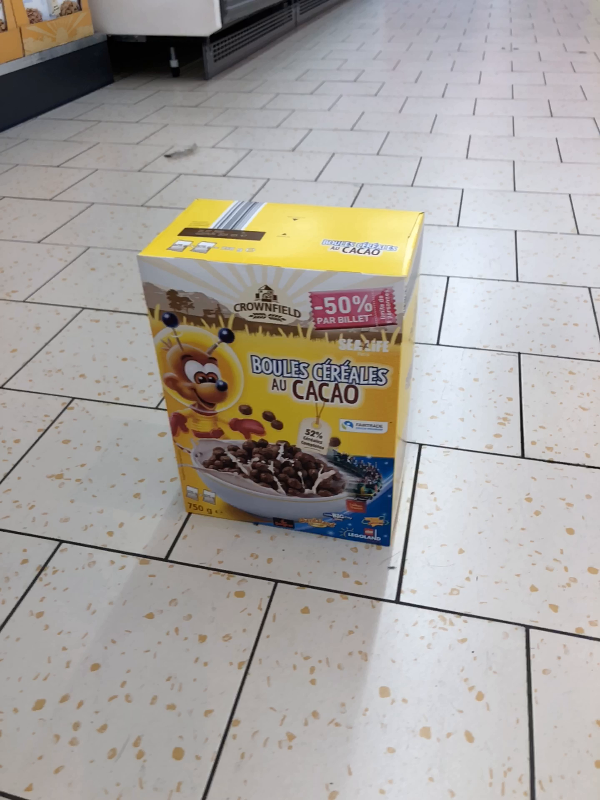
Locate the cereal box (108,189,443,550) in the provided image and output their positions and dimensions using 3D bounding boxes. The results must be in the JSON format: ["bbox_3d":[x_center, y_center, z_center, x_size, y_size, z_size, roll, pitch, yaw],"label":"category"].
[{"bbox_3d":[-0.007,-0.026,0.539,0.210,0.239,0.131,7,36,13],"label":"cereal box"}]
